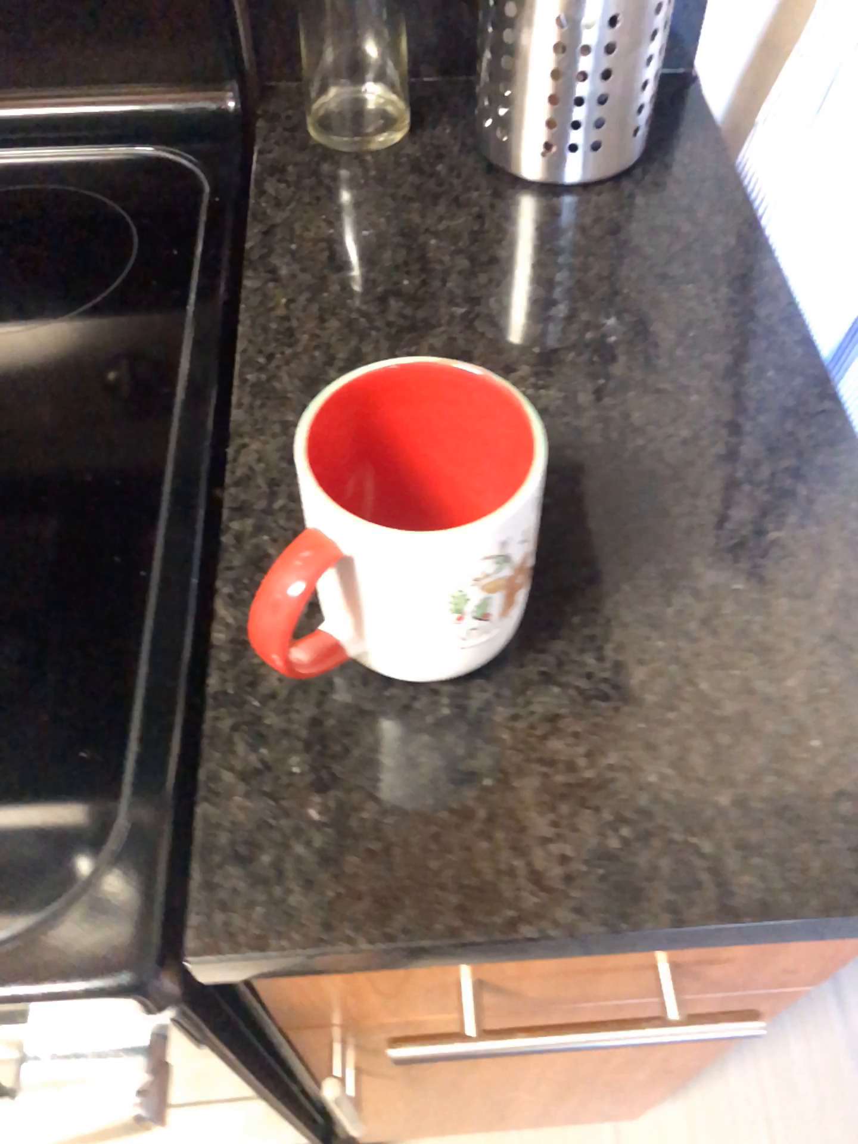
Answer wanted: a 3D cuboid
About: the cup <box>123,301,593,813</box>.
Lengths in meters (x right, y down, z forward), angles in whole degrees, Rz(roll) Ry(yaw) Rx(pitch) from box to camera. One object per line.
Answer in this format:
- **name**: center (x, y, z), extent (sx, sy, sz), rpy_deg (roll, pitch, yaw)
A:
- **cup**: center (-0.020, -0.007, 0.357), extent (0.090, 0.110, 0.130), rpy_deg (34, 61, 23)
